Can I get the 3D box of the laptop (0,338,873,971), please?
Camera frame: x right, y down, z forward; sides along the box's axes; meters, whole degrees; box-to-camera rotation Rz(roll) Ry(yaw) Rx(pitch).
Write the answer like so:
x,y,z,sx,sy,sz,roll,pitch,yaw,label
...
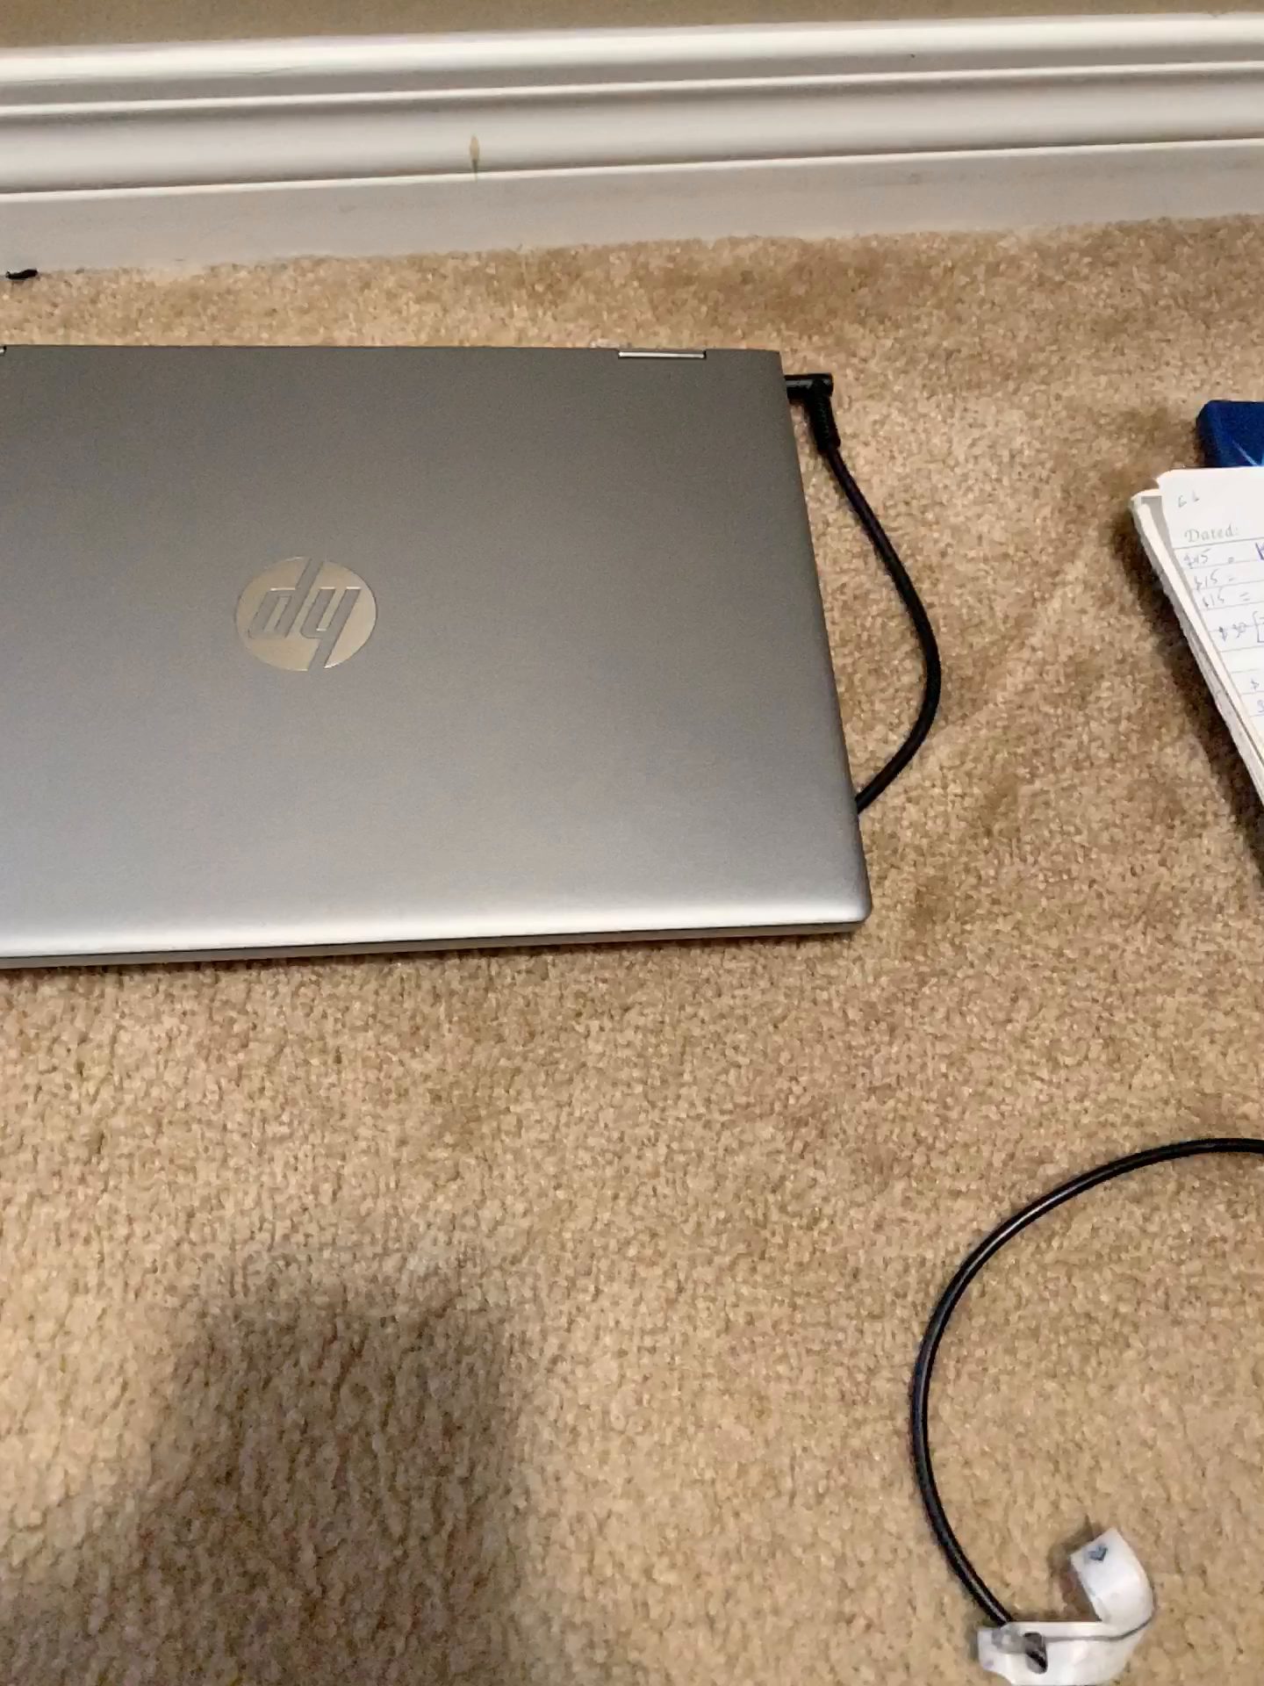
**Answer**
x,y,z,sx,sy,sz,roll,pitch,yaw,label
-0.097,-0.073,0.397,0.319,0.001,0.222,-2,62,-8,laptop
